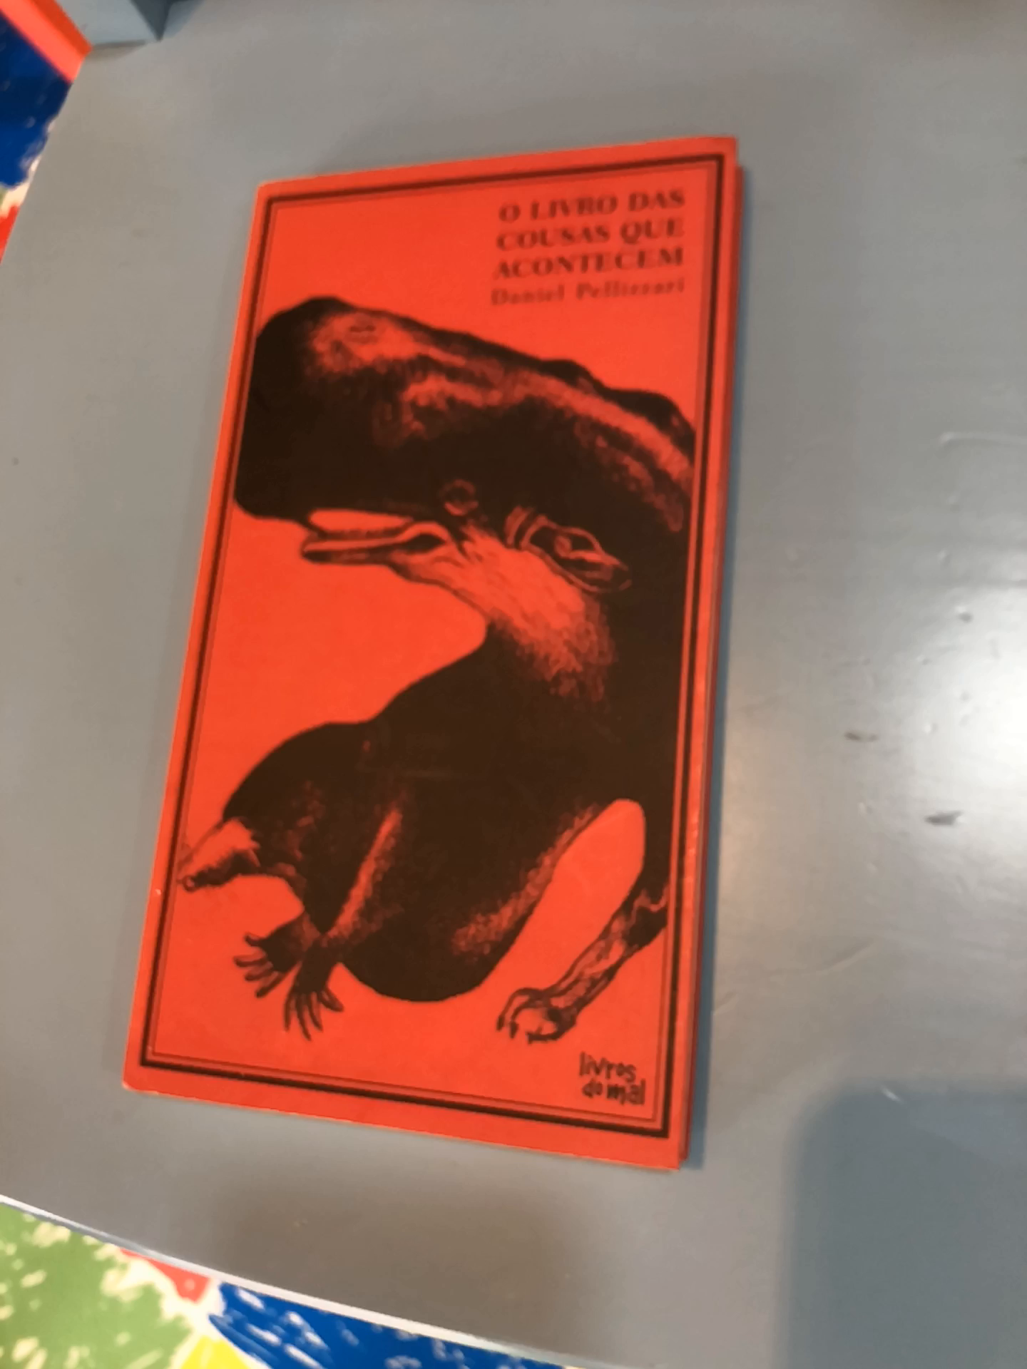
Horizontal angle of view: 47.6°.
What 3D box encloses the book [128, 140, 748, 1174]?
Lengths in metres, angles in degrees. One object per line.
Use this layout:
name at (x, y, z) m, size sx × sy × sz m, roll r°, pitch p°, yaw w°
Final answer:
book at (-0.012, -0.014, 0.241) m, size 0.110 × 0.016 × 0.200 m, roll 1°, pitch 77°, yaw 17°
